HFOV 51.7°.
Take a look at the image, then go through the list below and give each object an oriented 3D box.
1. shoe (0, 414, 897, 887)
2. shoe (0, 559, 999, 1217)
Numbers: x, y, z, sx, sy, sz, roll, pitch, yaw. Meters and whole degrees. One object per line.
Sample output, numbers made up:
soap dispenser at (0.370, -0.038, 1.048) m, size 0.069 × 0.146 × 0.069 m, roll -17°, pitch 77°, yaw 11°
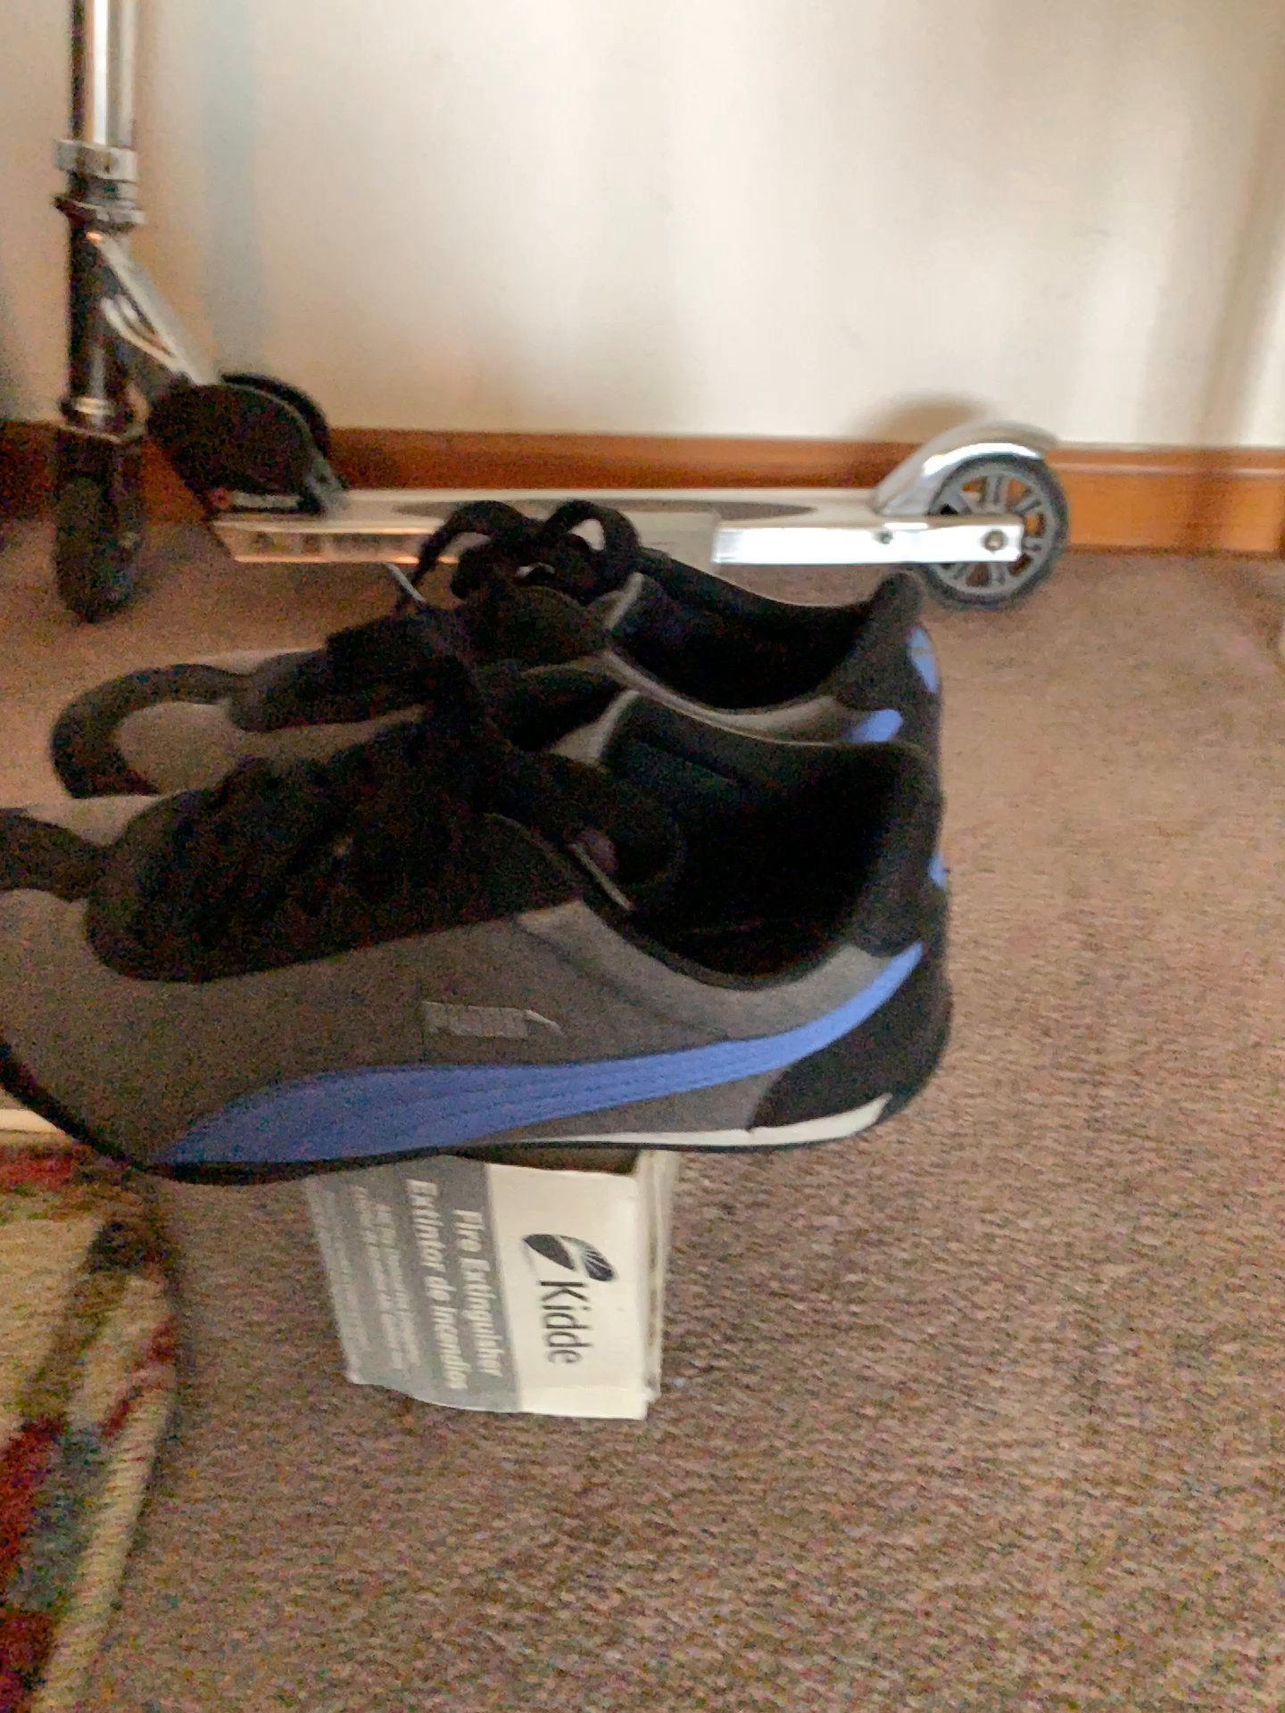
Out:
shoe at (-0.052, -0.062, 0.371) m, size 0.230 × 0.089 × 0.101 m, roll 2°, pitch 36°, yaw 5°
shoe at (-0.054, 0.002, 0.300) m, size 0.240 × 0.099 × 0.101 m, roll 2°, pitch 36°, yaw 5°
